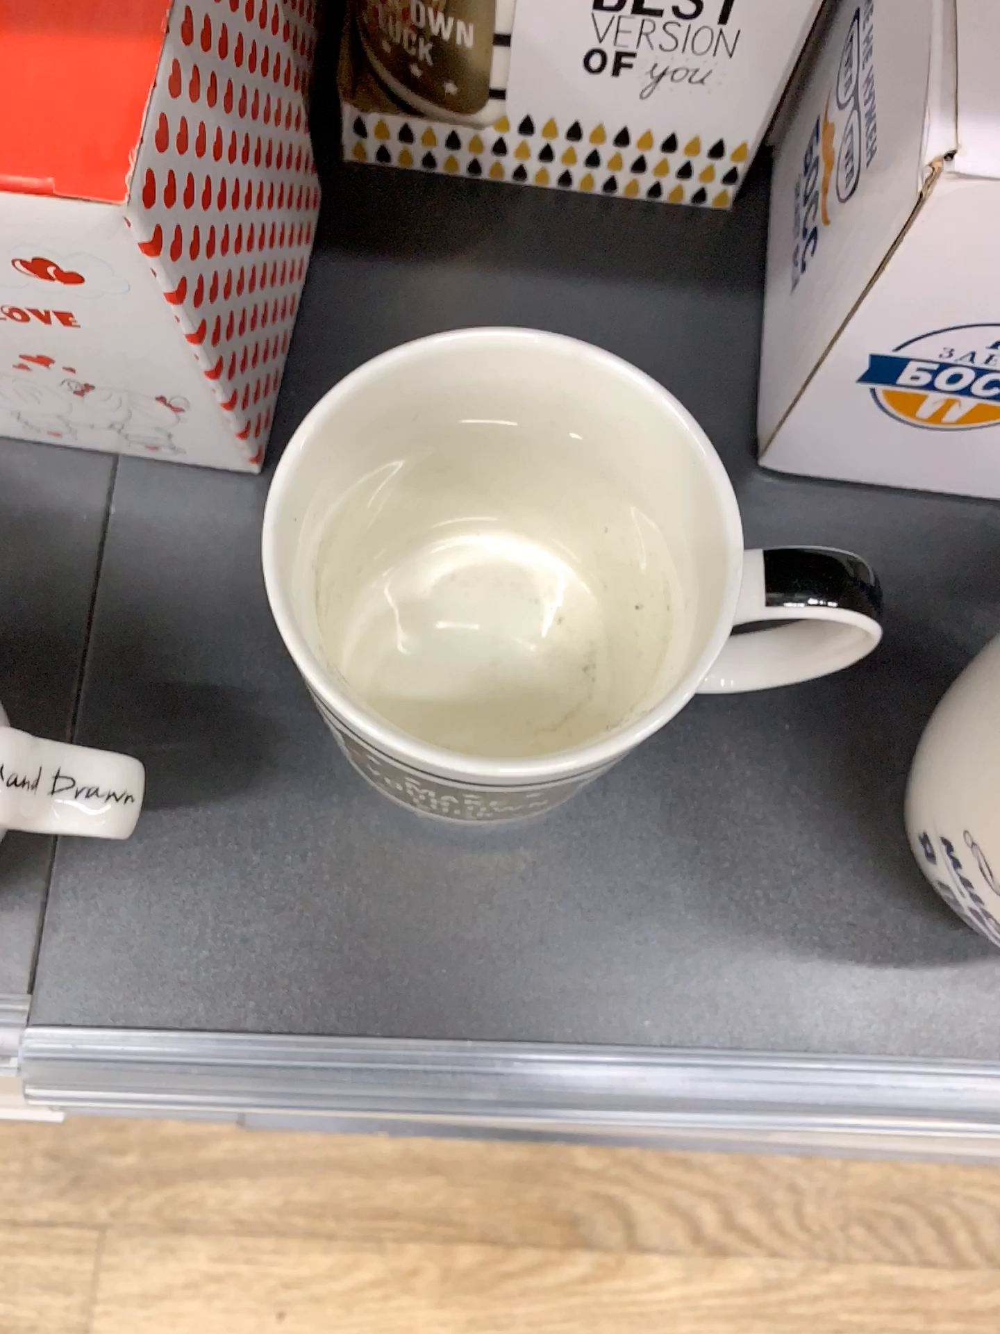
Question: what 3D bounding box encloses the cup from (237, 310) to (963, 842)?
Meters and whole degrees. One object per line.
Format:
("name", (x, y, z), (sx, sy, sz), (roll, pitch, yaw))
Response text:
("cup", (0.015, -0.009, 0.220), (0.114, 0.096, 0.081), (2, 77, -3))
